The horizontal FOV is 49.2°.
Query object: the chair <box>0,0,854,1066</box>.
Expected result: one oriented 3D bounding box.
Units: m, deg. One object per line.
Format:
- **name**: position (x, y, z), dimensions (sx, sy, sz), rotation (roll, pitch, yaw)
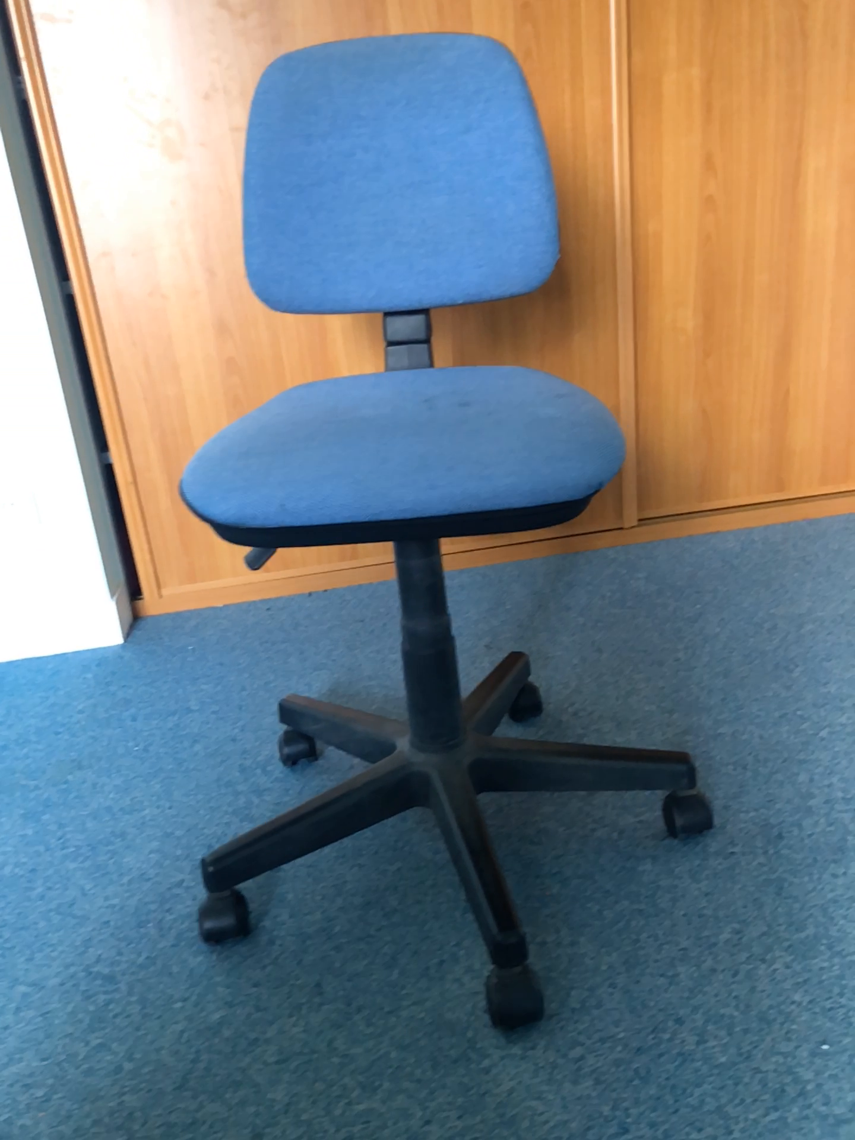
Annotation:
- **chair**: position (-0.004, -0.131, 1.053), dimensions (0.650, 0.916, 0.764), rotation (-5, 21, 2)
